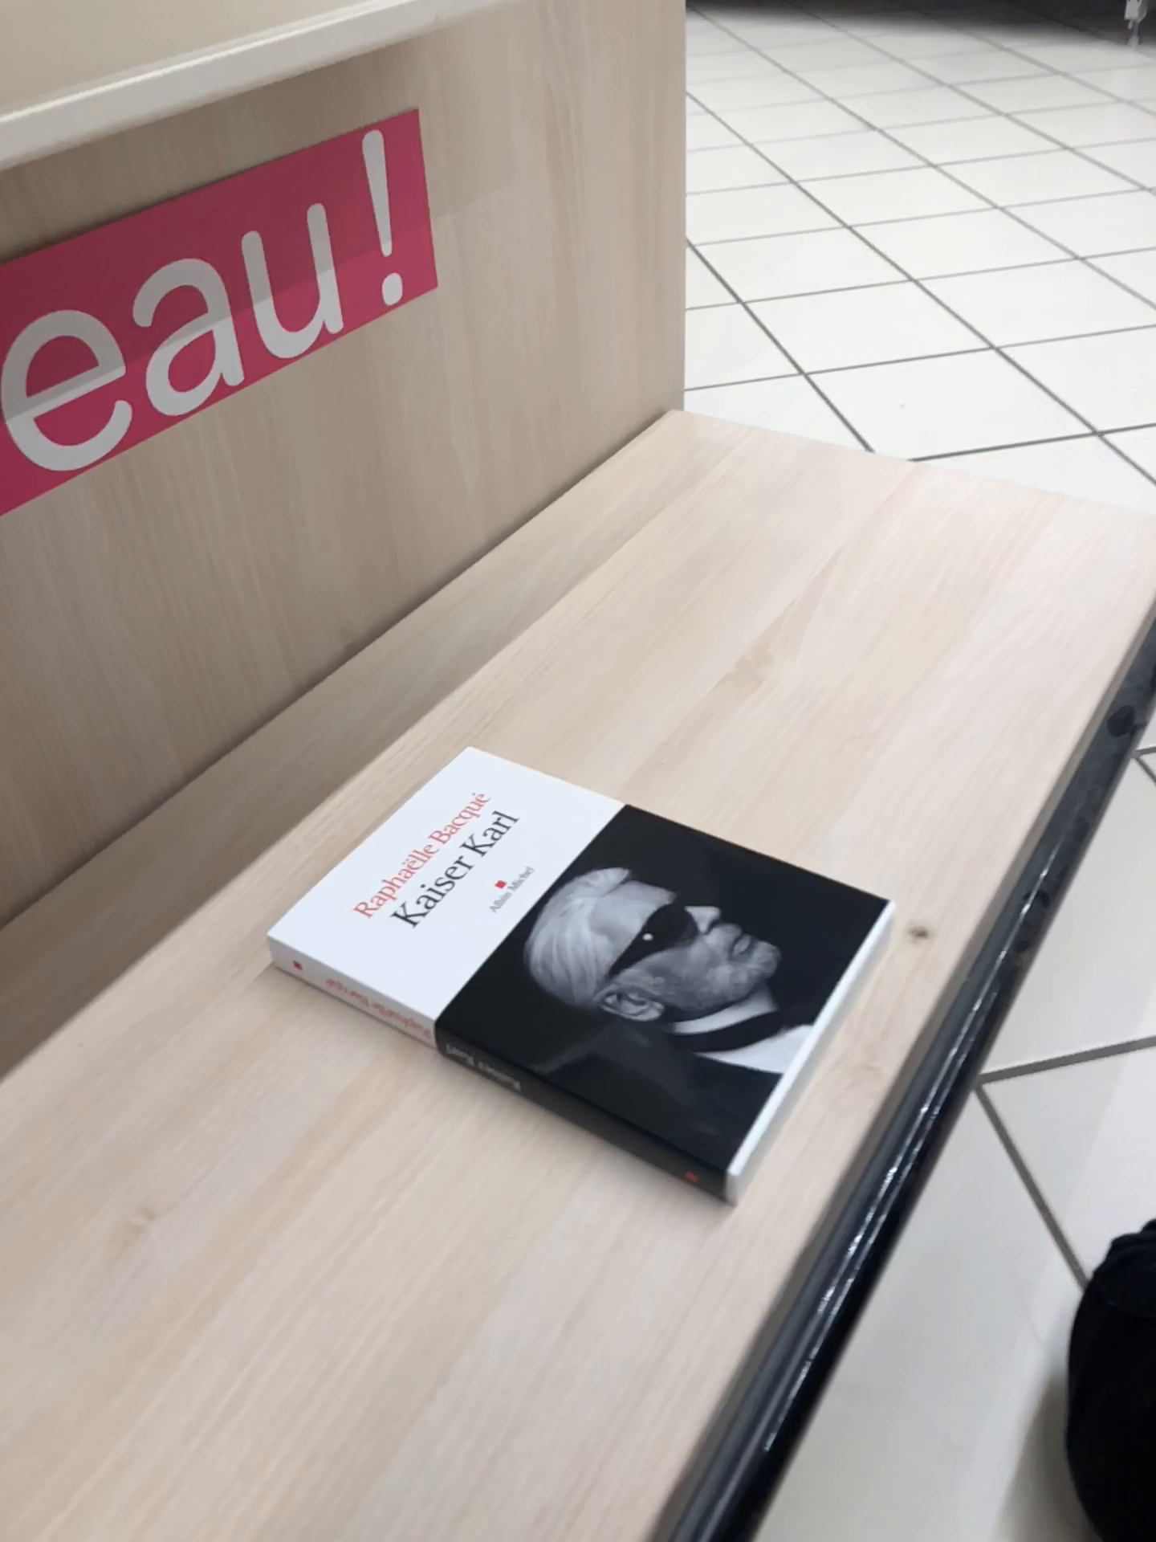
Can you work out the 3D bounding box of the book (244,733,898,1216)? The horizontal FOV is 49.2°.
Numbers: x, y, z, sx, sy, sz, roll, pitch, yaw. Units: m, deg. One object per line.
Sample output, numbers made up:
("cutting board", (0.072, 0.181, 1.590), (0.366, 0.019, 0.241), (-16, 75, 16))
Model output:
("book", (-0.002, 0.067, 0.522), (0.220, 0.030, 0.151), (20, 43, 25))
